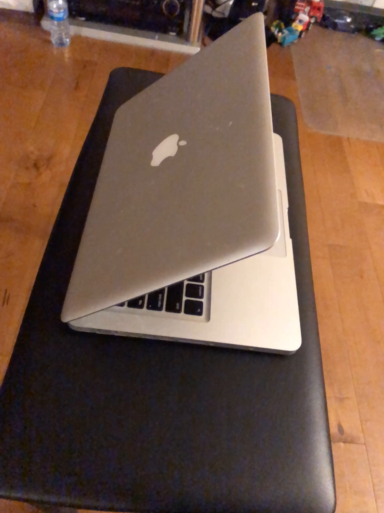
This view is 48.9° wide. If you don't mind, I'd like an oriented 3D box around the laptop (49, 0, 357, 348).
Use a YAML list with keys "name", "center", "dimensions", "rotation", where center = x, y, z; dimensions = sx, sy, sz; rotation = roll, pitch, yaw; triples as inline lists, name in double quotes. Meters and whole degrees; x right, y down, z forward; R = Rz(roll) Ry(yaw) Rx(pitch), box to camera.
- name: "laptop"
  center: [0.018, -0.097, 0.422]
  dimensions: [0.208, 0.144, 0.311]
  rotation: [9, 57, -4]
